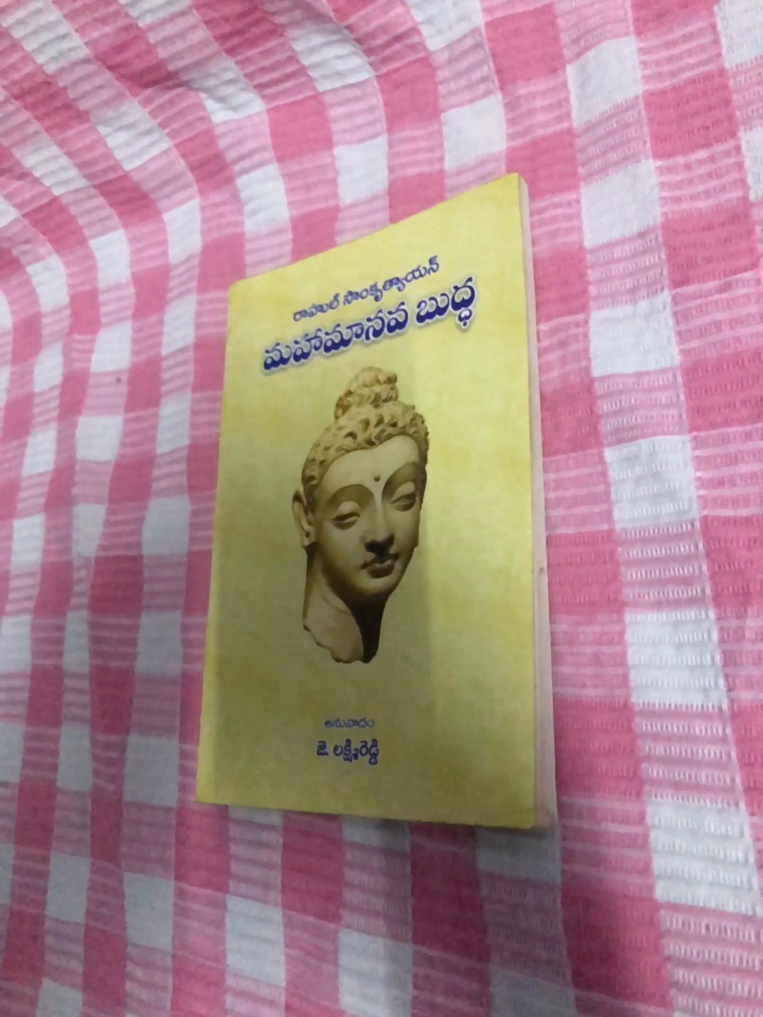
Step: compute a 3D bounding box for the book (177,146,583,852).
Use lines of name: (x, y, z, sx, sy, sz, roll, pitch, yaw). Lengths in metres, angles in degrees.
book: (-0.005, -0.004, 0.298, 0.140, 0.020, 0.220, -9, 70, 32)
